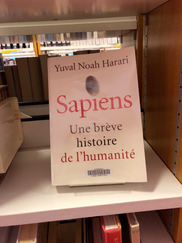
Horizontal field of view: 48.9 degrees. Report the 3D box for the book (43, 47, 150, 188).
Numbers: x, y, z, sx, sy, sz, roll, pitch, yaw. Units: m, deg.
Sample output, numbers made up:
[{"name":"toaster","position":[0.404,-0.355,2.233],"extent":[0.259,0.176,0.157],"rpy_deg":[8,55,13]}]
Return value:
[{"name":"book","position":[0.007,-0.008,0.388],"extent":[0.178,0.244,0.052],"rpy_deg":[-4,-6,4]}]
